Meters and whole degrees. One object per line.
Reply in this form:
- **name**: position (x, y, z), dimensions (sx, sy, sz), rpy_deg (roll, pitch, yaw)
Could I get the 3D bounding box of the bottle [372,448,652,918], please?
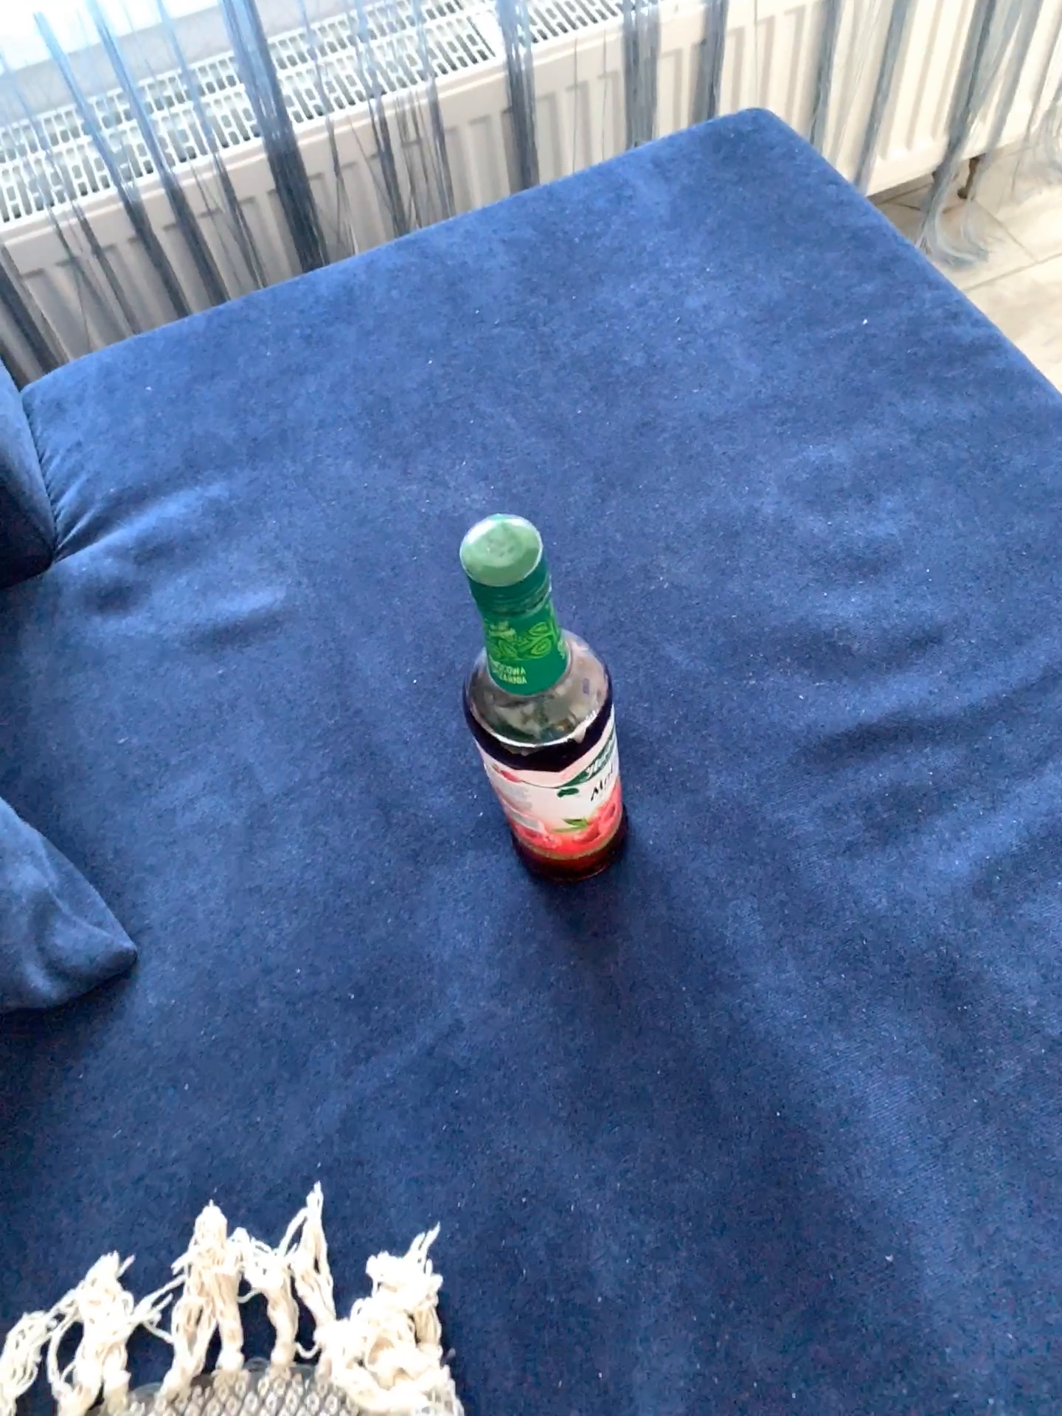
- **bottle**: position (0.005, 0.008, 0.473), dimensions (0.070, 0.249, 0.070), rpy_deg (-2, 61, 4)
